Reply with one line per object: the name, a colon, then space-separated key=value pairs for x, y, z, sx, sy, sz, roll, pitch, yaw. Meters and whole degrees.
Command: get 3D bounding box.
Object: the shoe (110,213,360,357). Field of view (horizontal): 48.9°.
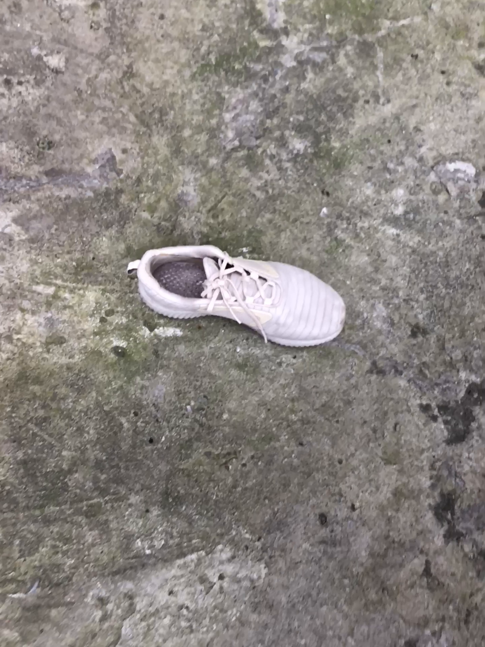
shoe: x=-0.006 y=-0.051 z=0.728 sx=0.300 sy=0.110 sz=0.120 roll=10 pitch=76 yaw=9
